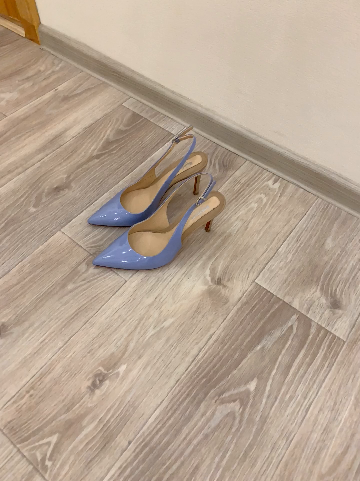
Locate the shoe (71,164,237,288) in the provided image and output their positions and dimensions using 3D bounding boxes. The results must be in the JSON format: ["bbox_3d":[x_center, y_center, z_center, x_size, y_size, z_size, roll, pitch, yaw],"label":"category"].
[{"bbox_3d":[-0.039,-0.025,0.591,0.230,0.100,0.090,-20,59,-15],"label":"shoe"}]

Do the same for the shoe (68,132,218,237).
[{"bbox_3d":[-0.062,-0.099,0.645,0.230,0.100,0.090,-16,58,-12],"label":"shoe"}]
